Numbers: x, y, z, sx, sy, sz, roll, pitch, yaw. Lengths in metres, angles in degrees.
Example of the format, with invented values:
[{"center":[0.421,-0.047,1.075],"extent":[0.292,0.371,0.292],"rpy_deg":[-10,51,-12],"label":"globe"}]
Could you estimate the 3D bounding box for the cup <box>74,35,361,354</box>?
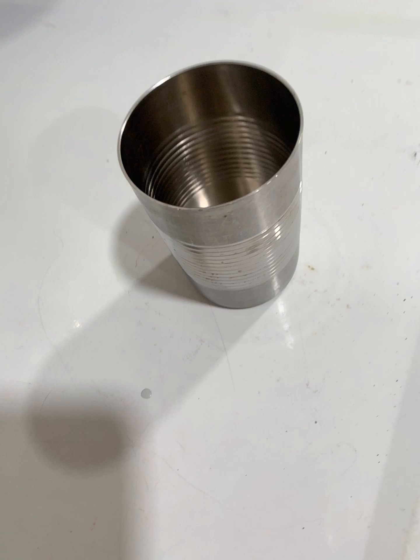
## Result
[{"center":[0.008,-0.029,0.190],"extent":[0.070,0.095,0.070],"rpy_deg":[-5,64,10],"label":"cup"}]
